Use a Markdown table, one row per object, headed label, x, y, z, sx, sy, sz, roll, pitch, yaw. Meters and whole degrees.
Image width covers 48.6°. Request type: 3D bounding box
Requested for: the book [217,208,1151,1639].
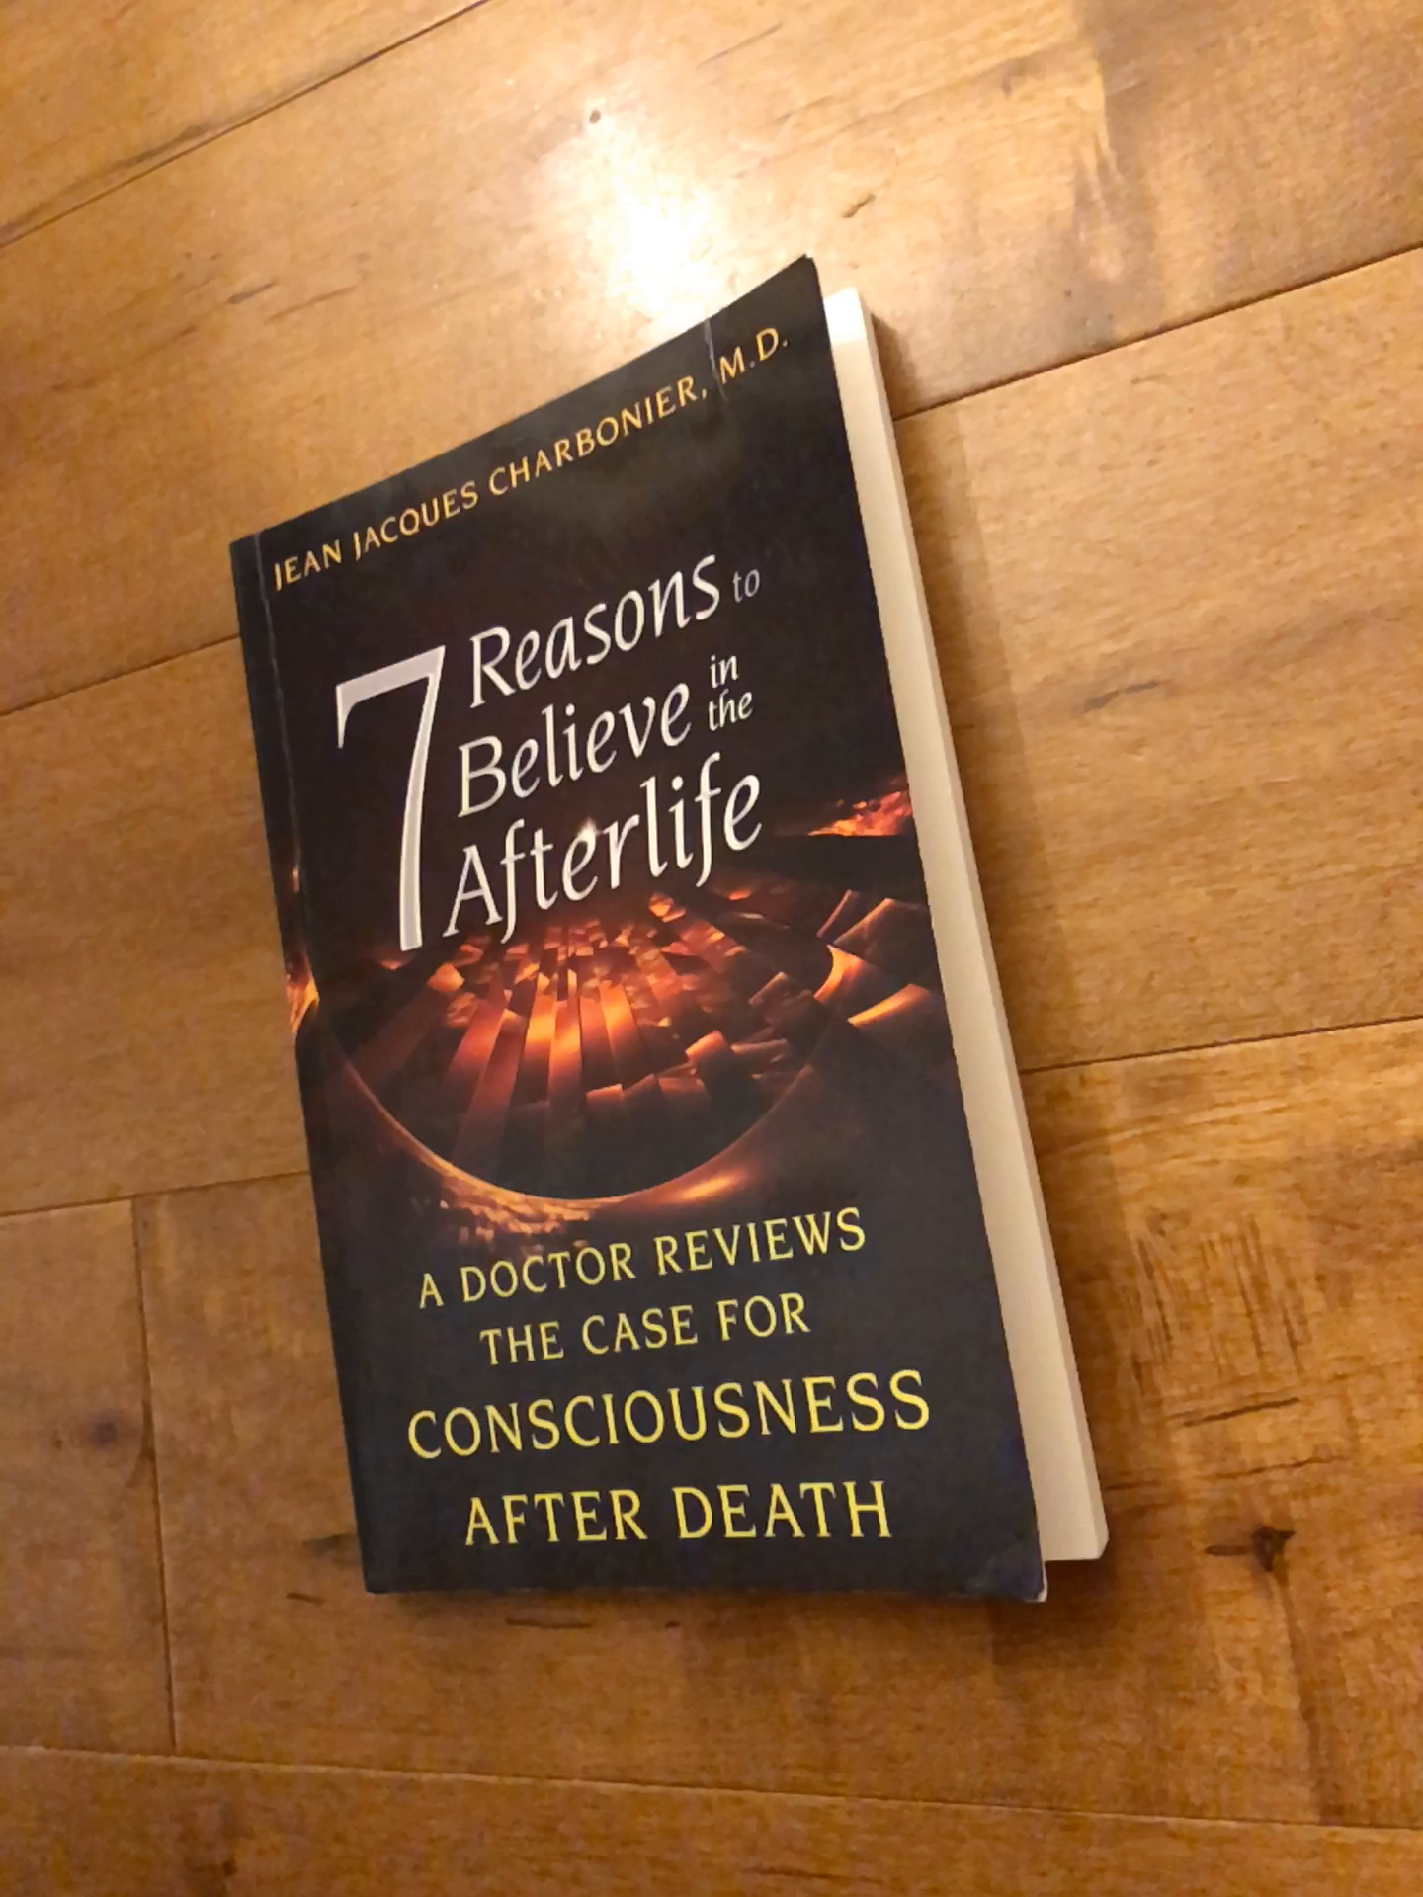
| label | x | y | z | sx | sy | sz | roll | pitch | yaw |
| --- | --- | --- | --- | --- | --- | --- | --- | --- | --- |
| book | -0.021 | 0.005 | 0.326 | 0.170 | 0.030 | 0.250 | -14 | 80 | 32 |
